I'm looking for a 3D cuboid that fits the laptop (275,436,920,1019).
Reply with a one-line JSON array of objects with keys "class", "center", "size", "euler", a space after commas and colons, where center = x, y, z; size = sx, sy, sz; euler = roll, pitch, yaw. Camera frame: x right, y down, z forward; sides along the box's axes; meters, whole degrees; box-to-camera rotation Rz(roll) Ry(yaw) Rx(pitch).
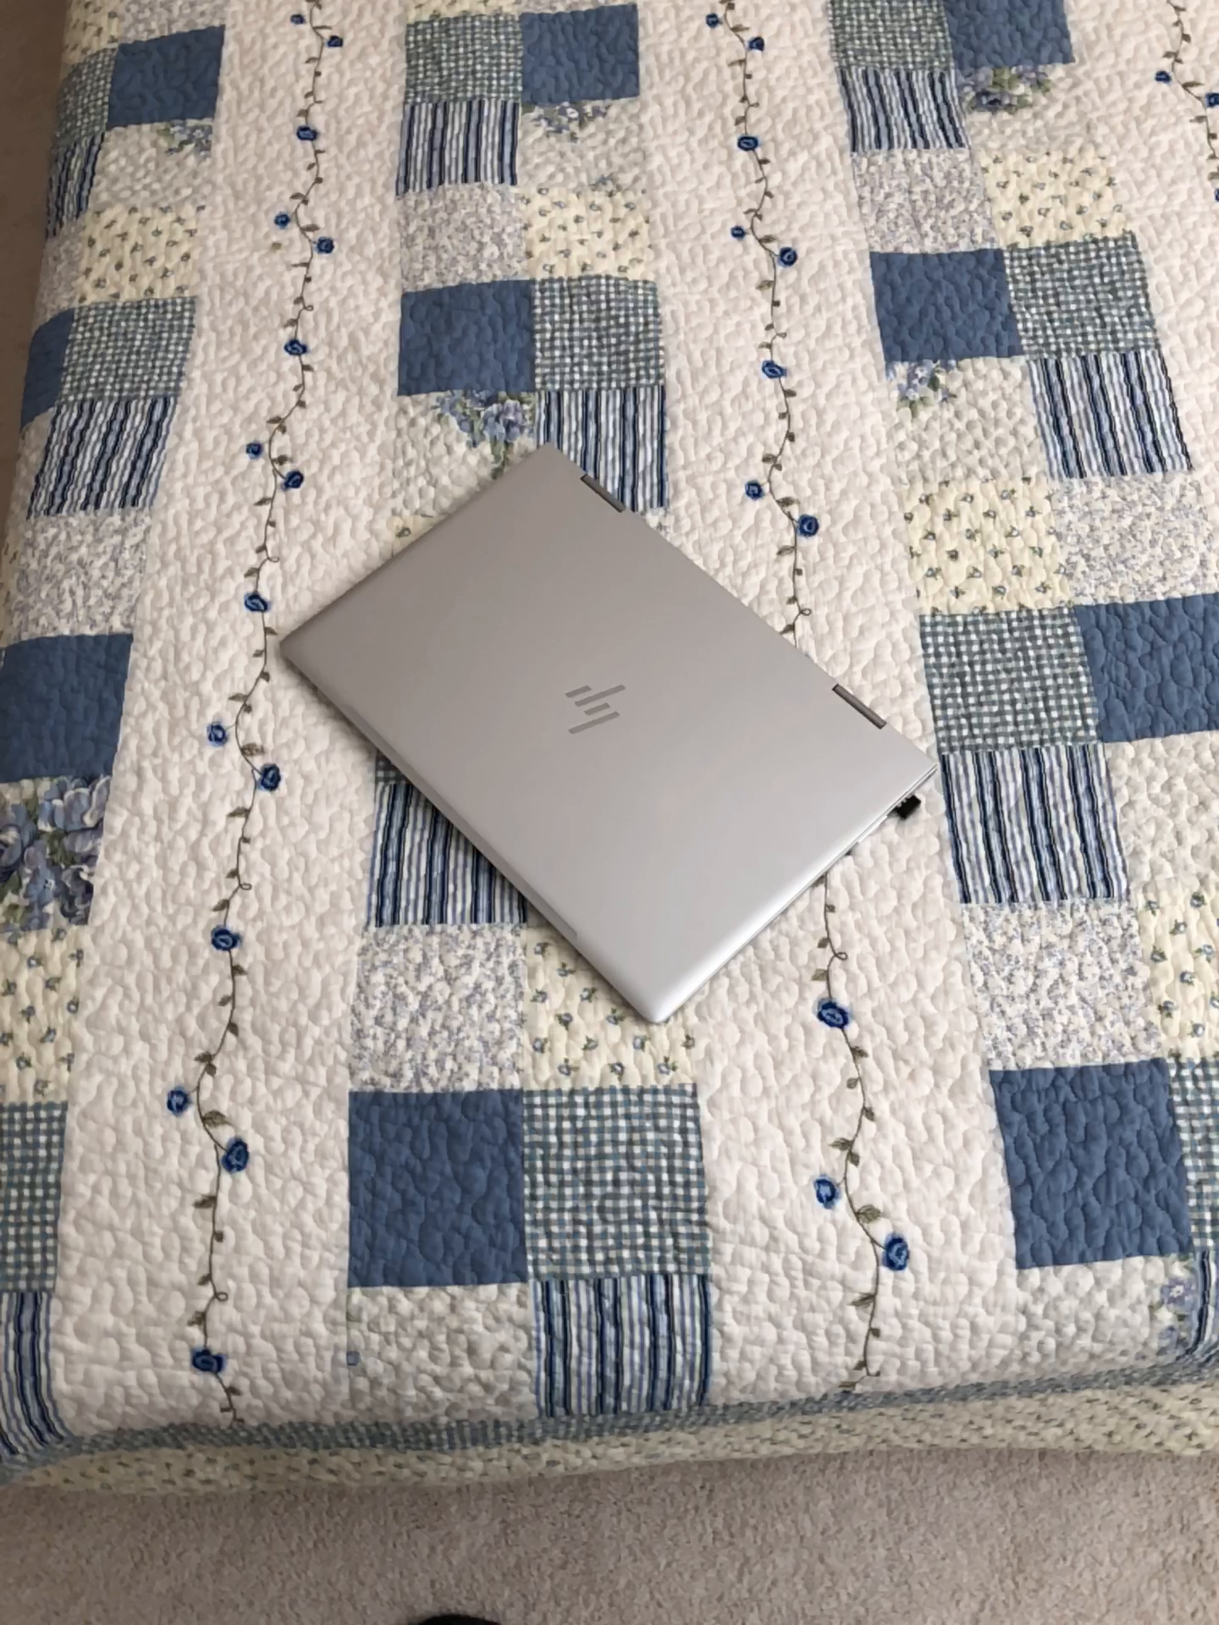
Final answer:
[{"class": "laptop", "center": [-0.015, -0.080, 0.936], "size": [0.256, 0.011, 0.386], "euler": [-41, 70, -16]}]
